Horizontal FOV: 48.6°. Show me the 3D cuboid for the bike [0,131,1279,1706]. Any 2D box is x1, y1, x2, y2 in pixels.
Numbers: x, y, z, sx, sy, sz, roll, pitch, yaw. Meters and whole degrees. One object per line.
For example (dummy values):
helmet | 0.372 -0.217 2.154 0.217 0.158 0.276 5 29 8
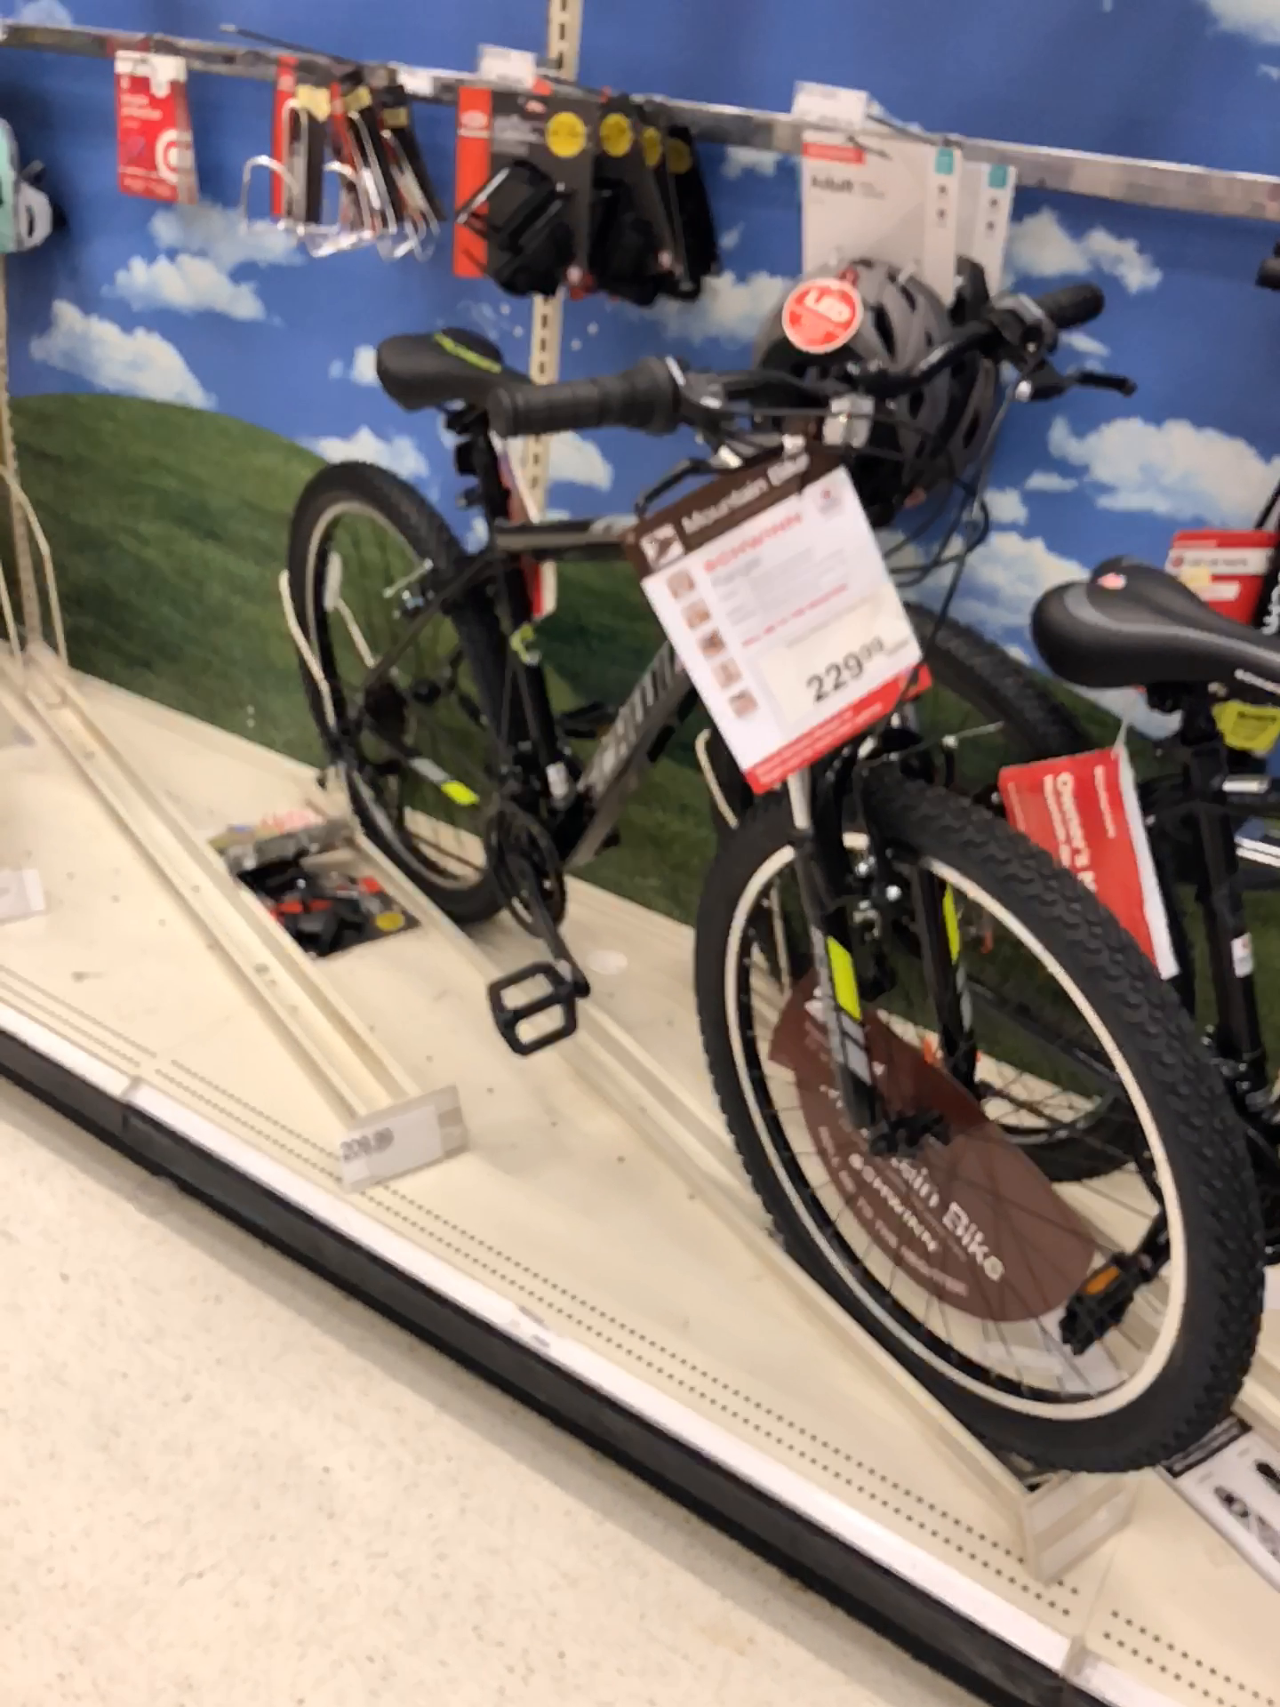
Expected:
bike | -0.116 -0.063 1.495 0.599 1.002 1.658 -13 36 -32
